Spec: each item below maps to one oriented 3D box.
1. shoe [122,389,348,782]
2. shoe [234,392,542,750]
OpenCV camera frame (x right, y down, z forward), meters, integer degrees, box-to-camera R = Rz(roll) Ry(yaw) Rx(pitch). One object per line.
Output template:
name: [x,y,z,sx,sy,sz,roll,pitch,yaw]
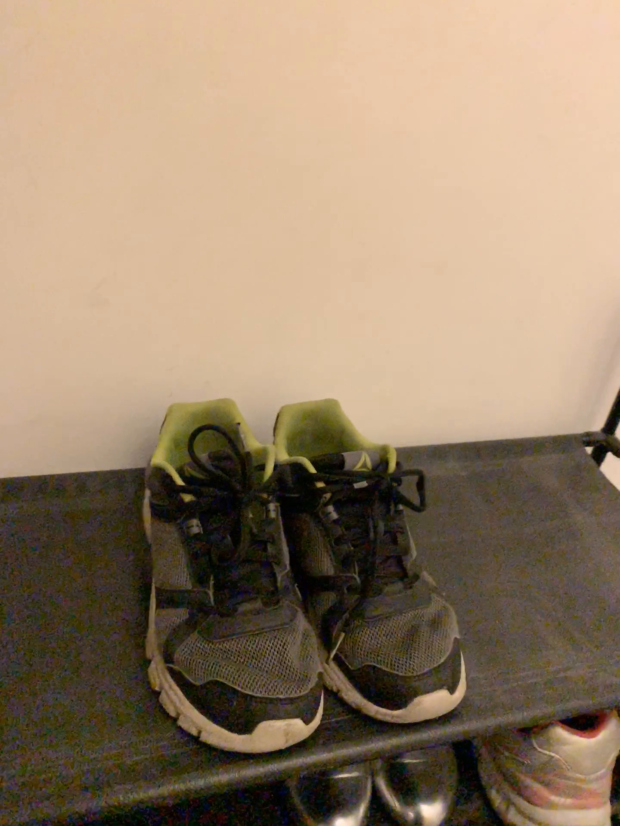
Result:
shoe: [-0.069,0.091,0.442,0.100,0.099,0.252,-3,32,-18]
shoe: [0.031,0.083,0.456,0.110,0.069,0.262,-4,33,-19]
